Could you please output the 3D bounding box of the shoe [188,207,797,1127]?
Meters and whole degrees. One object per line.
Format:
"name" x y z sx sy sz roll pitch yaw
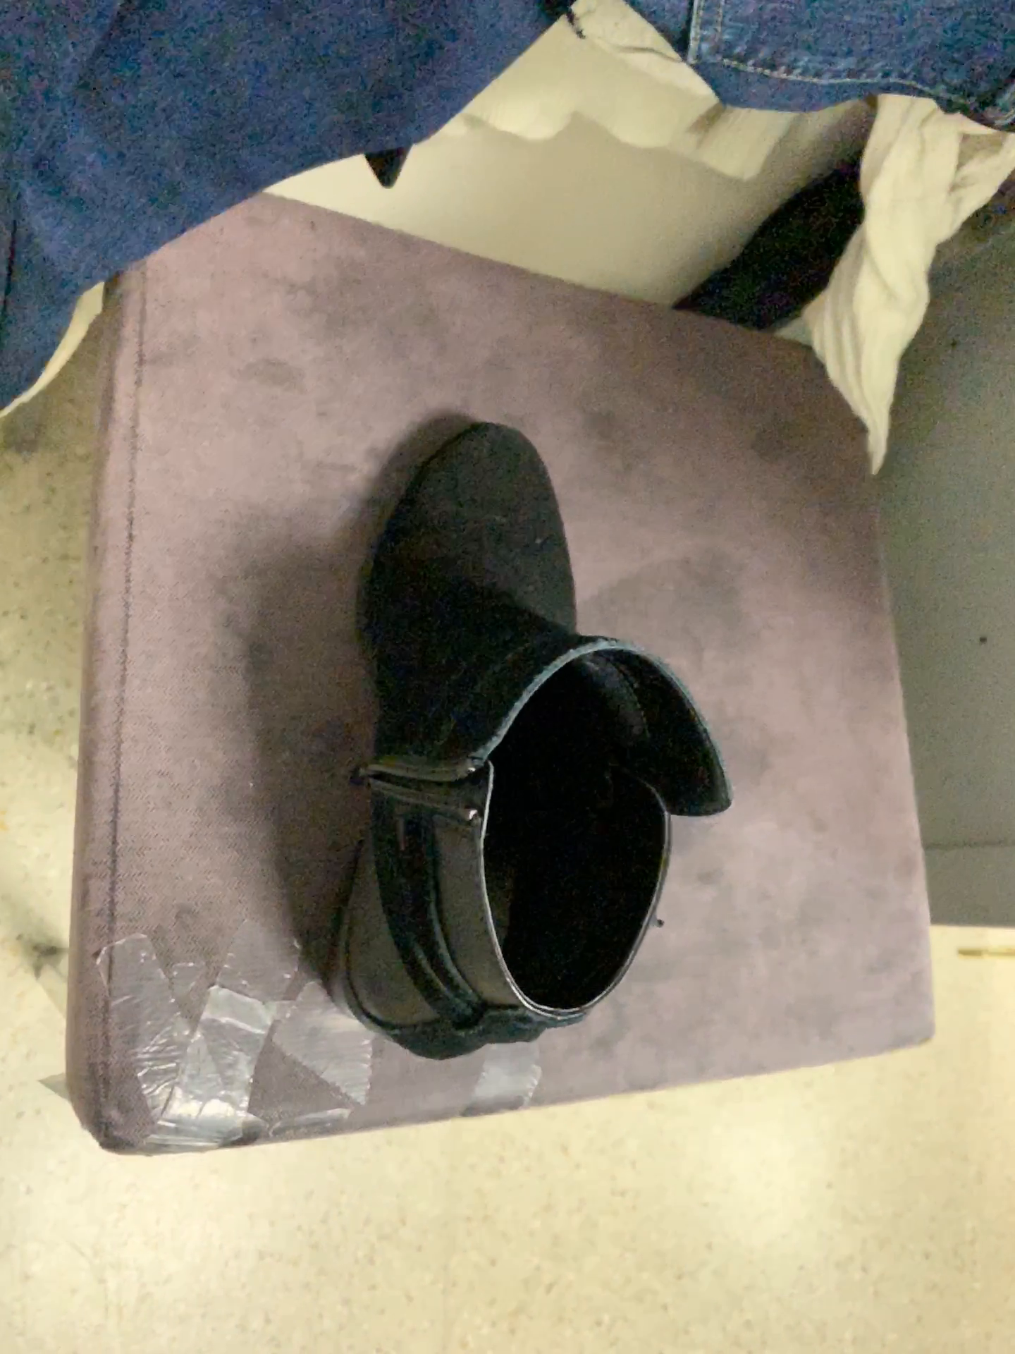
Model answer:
"shoe" -0.003 -0.001 0.378 0.105 0.135 0.266 24 69 -23
